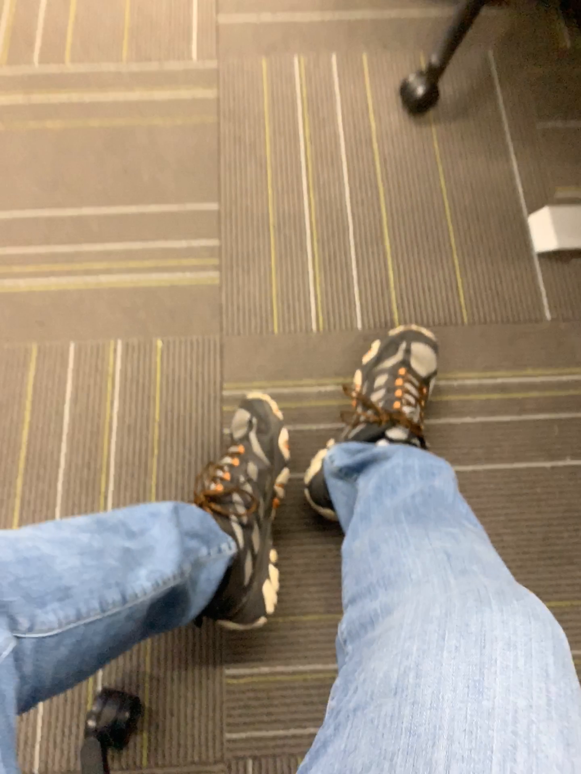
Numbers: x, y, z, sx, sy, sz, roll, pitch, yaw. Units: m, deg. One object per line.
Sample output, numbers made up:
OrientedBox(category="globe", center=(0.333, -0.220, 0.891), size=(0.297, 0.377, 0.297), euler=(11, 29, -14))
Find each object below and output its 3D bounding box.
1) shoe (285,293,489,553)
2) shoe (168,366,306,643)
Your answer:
OrientedBox(category="shoe", center=(0.141, 0.043, 0.842), size=(0.119, 0.119, 0.325), euler=(16, 73, 43))
OrientedBox(category="shoe", center=(-0.067, 0.152, 0.800), size=(0.127, 0.119, 0.325), euler=(12, 72, -38))
